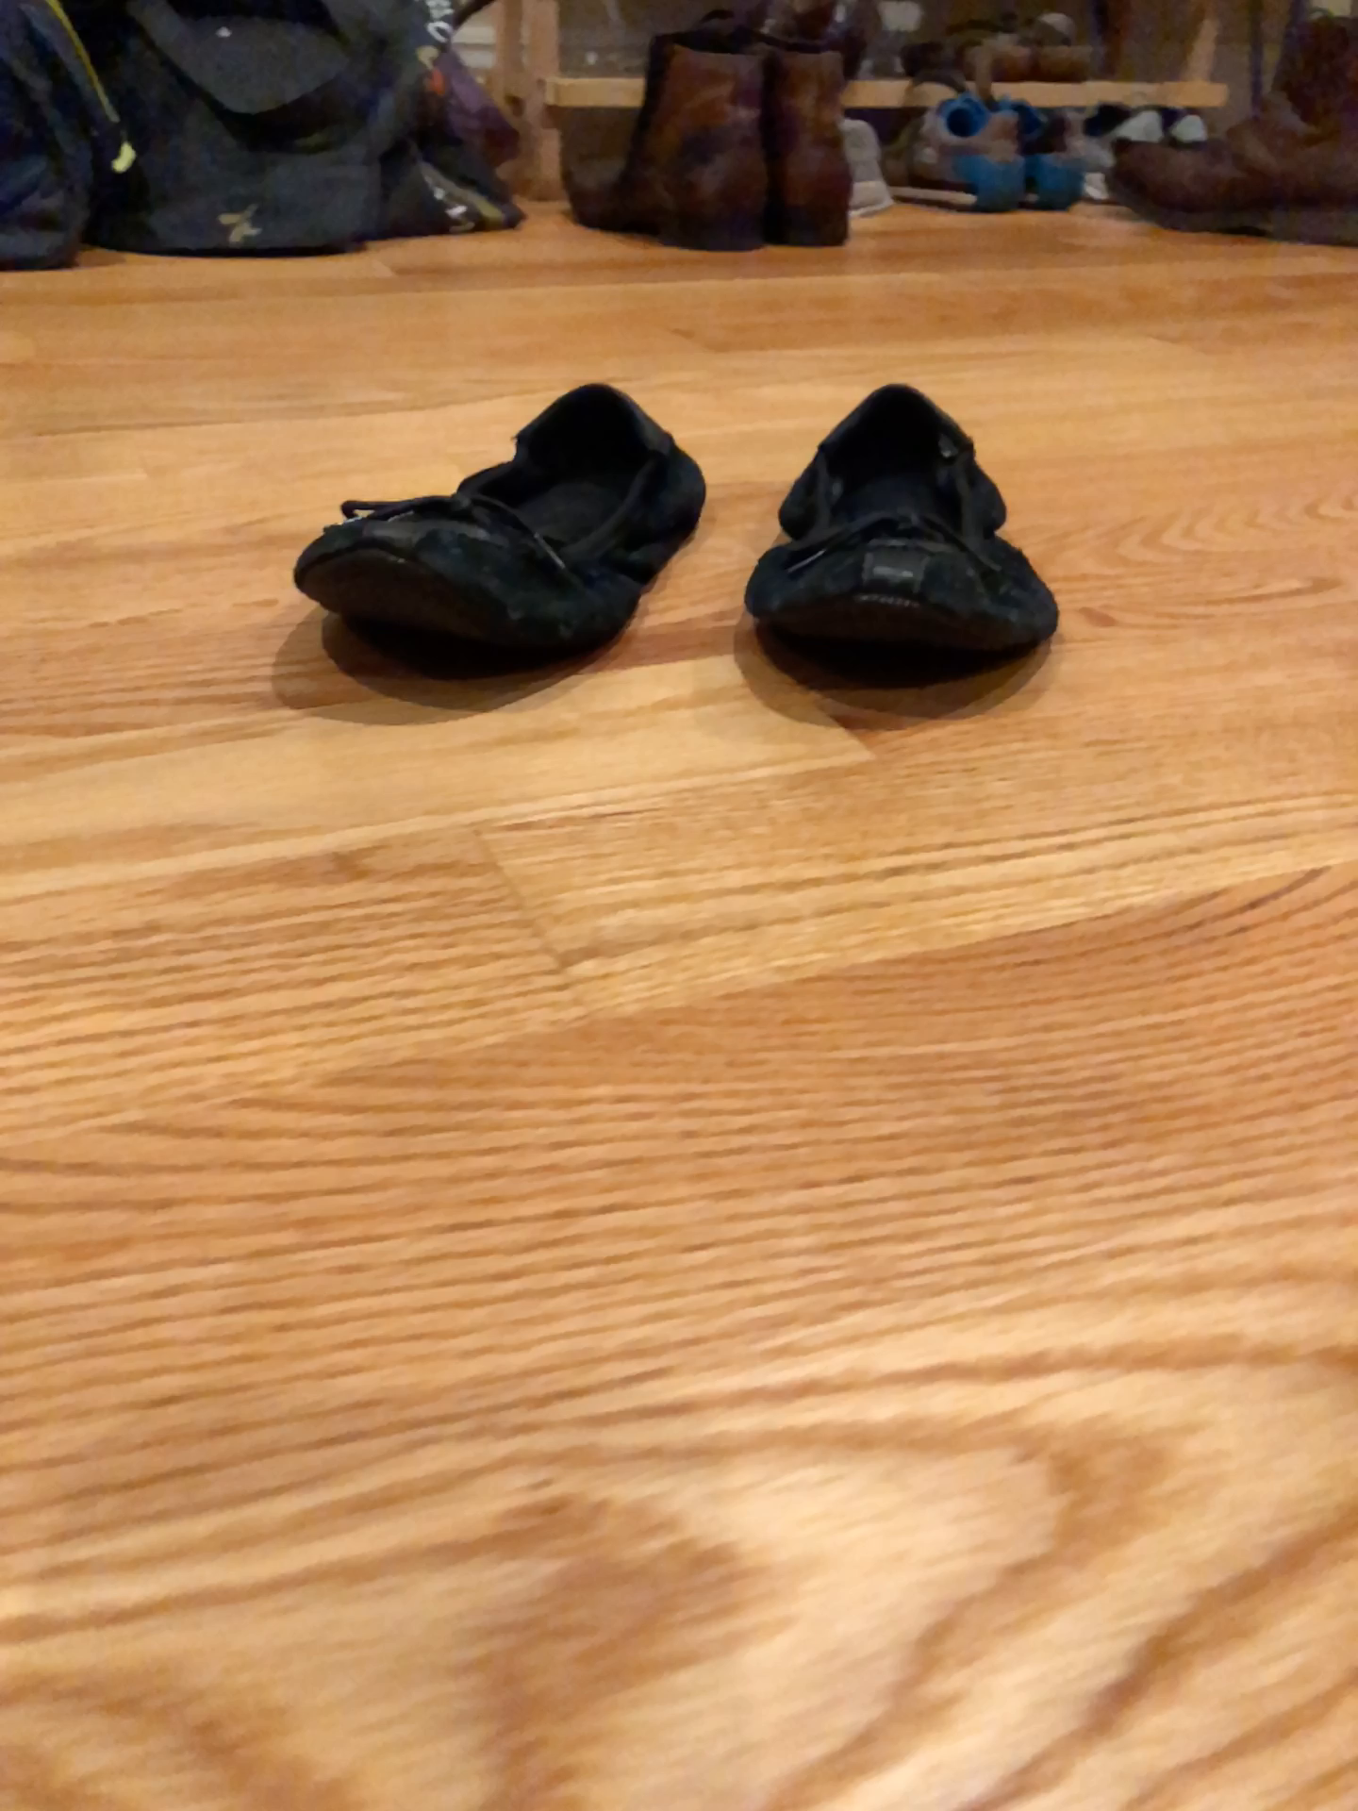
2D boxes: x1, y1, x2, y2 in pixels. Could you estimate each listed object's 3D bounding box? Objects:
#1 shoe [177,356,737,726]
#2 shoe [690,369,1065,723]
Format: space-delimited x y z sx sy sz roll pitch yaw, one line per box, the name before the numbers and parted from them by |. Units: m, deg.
shoe | -0.055 -0.129 0.485 0.100 0.050 0.221 9 31 12
shoe | 0.060 -0.126 0.485 0.093 0.046 0.221 4 30 4
